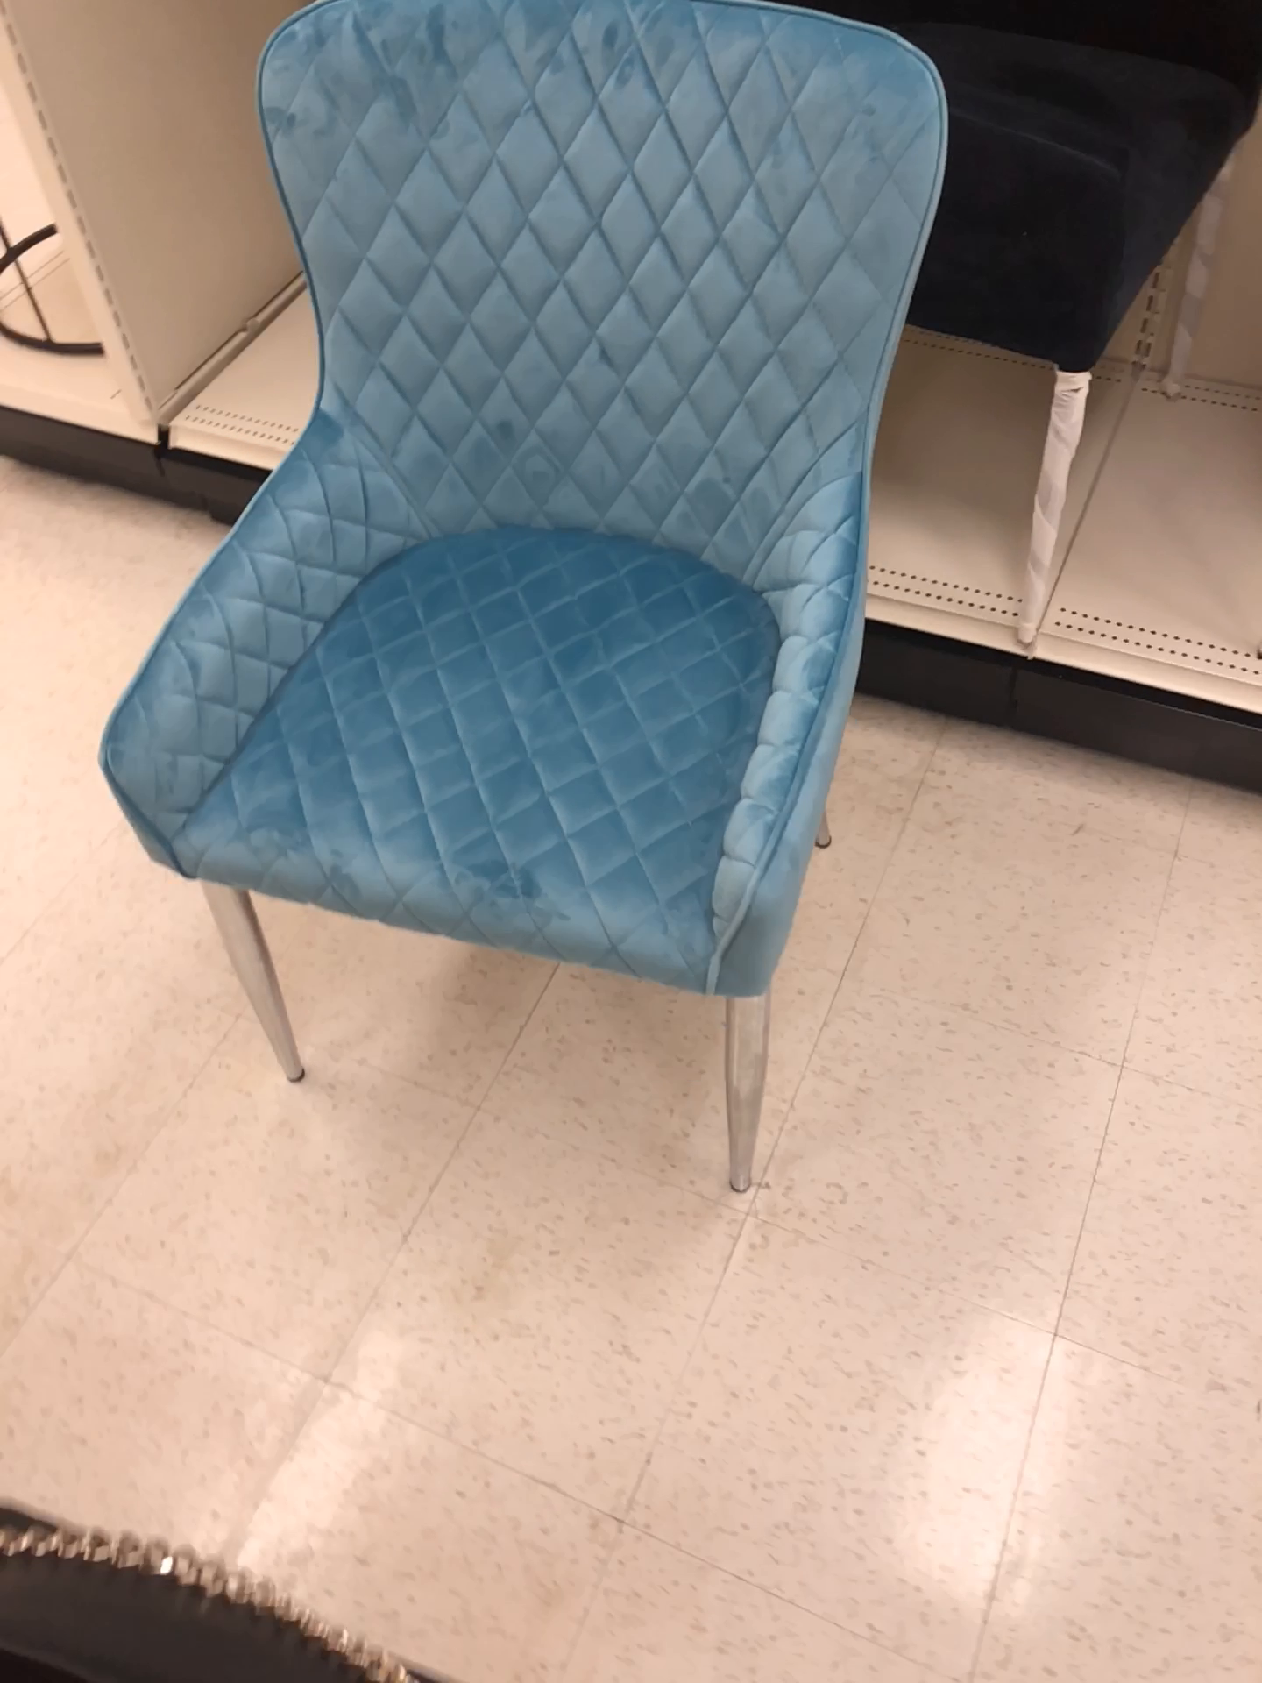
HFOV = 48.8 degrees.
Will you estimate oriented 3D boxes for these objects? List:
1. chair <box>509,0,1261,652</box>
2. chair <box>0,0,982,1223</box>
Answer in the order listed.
[{"bbox_3d":[0.315,-0.749,1.469,0.581,0.778,0.561,23,56,21],"label":"chair"},{"bbox_3d":[-0.072,-0.181,1.254,0.560,0.871,0.585,12,53,14],"label":"chair"}]
